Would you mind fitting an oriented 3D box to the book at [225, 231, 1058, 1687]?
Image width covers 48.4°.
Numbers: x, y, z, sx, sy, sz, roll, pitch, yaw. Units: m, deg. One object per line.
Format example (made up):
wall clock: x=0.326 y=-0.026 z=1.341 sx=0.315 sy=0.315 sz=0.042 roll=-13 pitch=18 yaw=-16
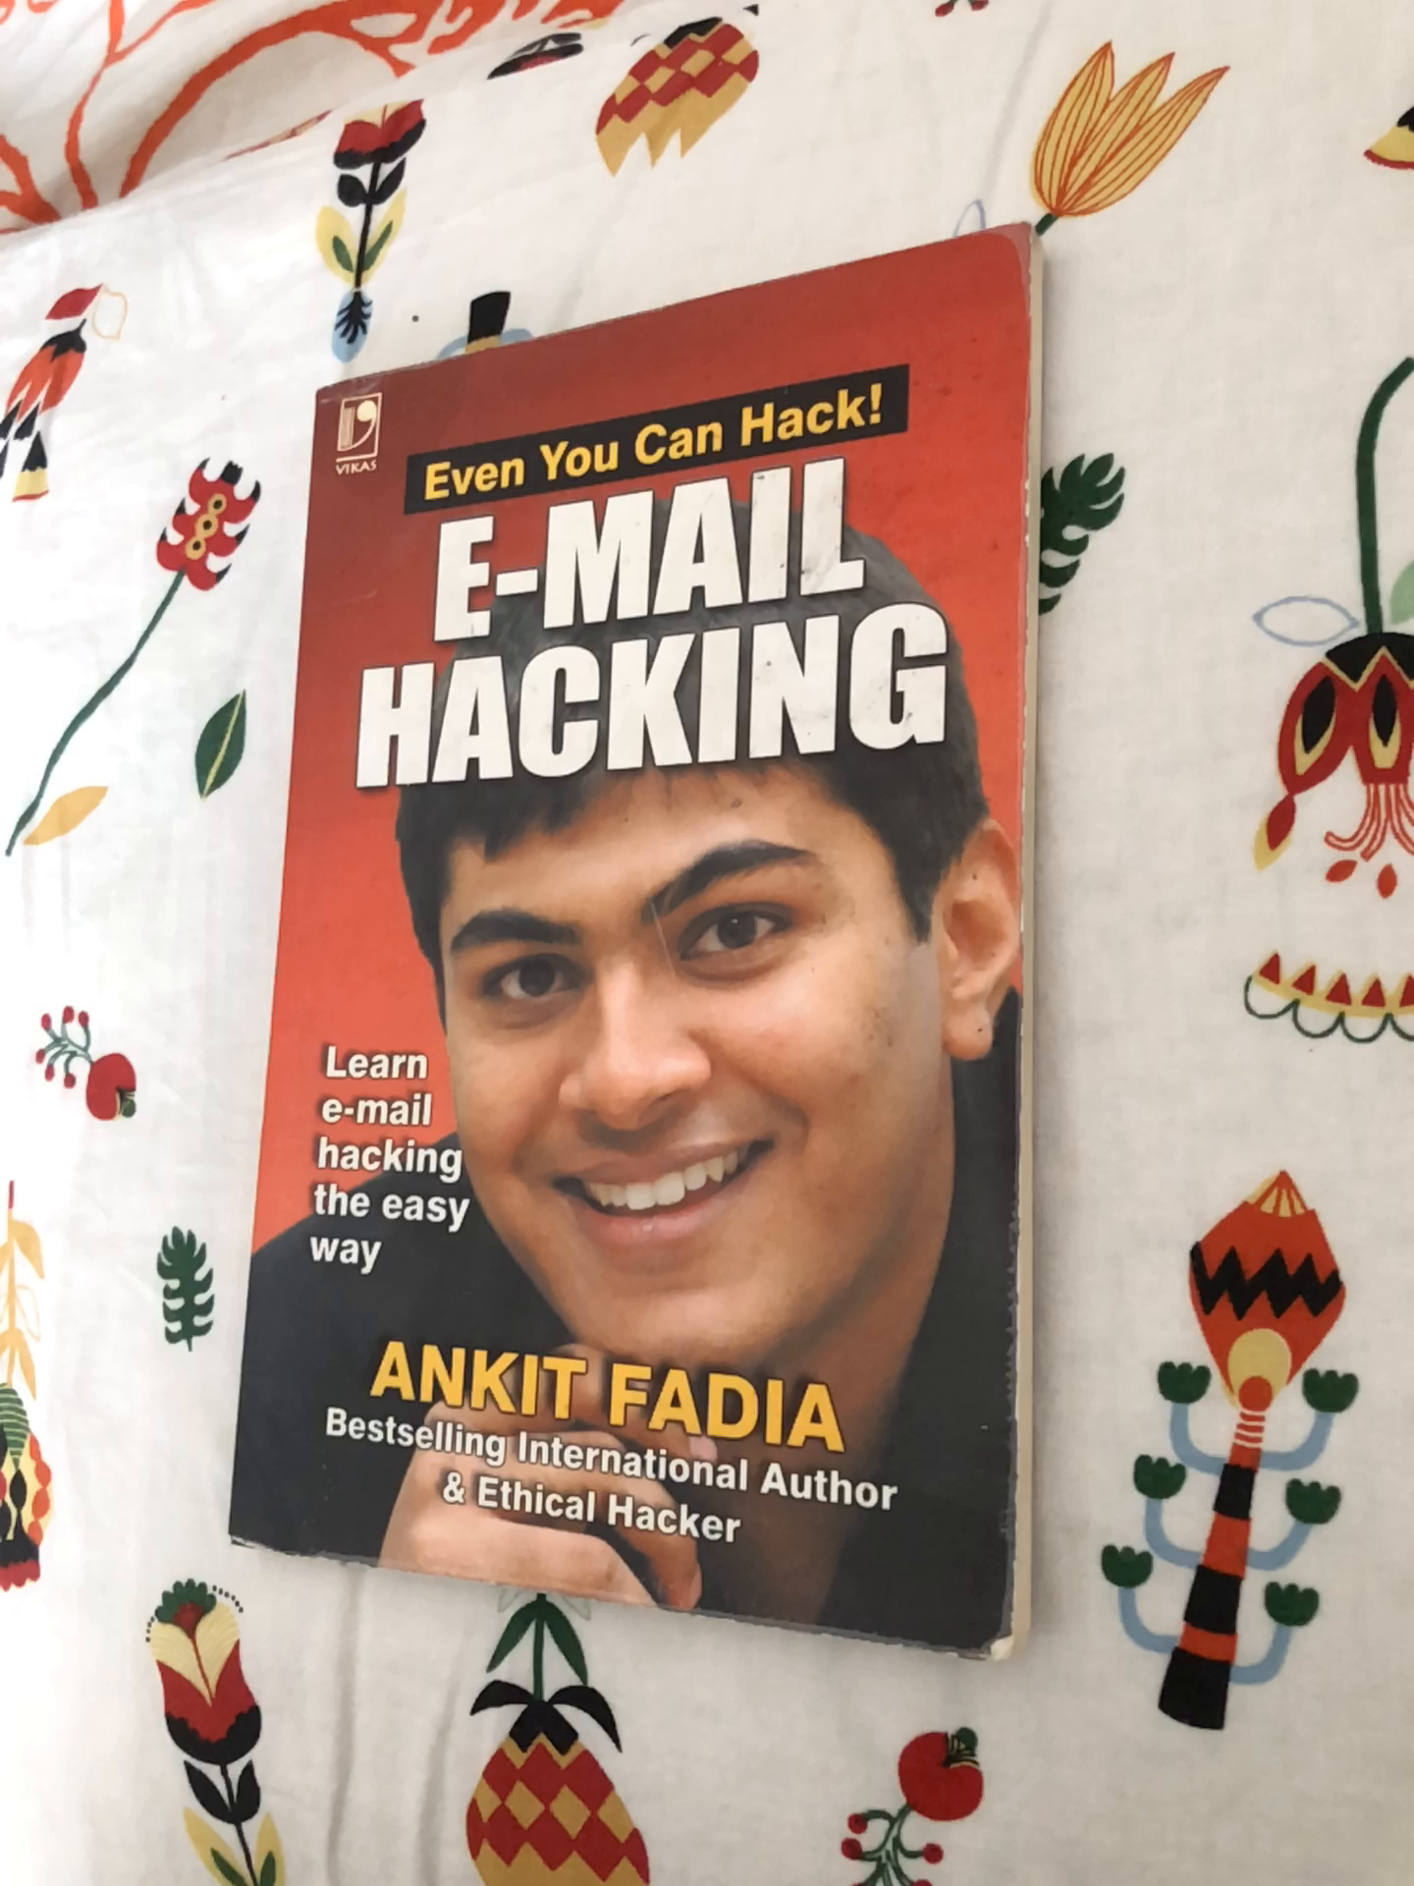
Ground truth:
book: x=-0.014 y=0.000 z=0.258 sx=0.138 sy=0.020 sz=0.204 roll=-2 pitch=84 yaw=25
